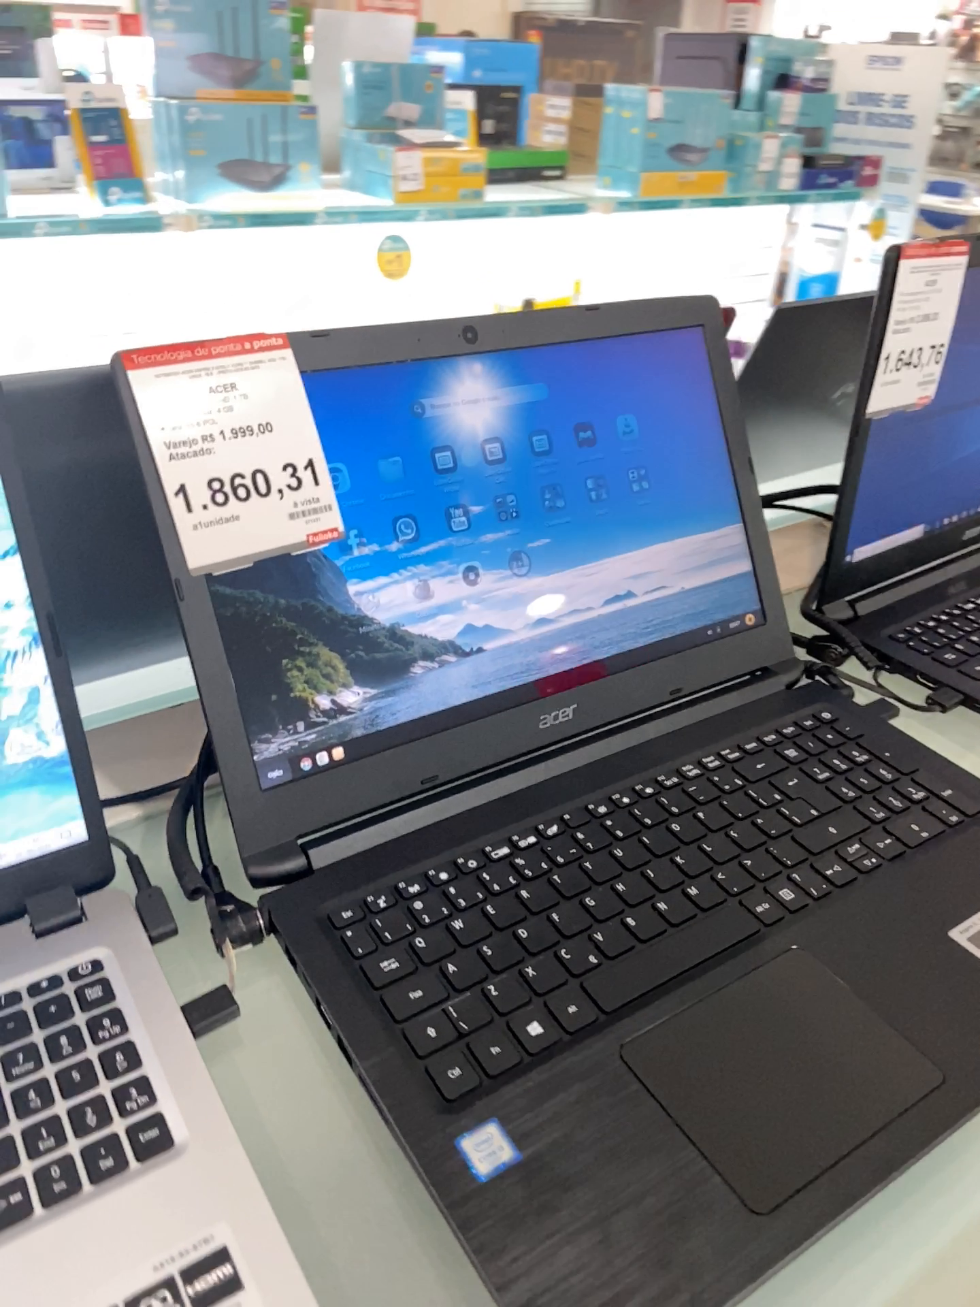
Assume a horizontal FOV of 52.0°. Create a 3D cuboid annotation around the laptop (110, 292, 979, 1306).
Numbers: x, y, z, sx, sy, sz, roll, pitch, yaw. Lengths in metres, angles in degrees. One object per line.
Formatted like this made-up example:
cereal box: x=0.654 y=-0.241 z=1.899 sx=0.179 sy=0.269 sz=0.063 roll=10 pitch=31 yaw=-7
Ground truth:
laptop: x=0.084 y=-0.005 z=0.468 sx=0.380 sy=0.215 sz=0.380 roll=-17 pitch=35 yaw=-29
